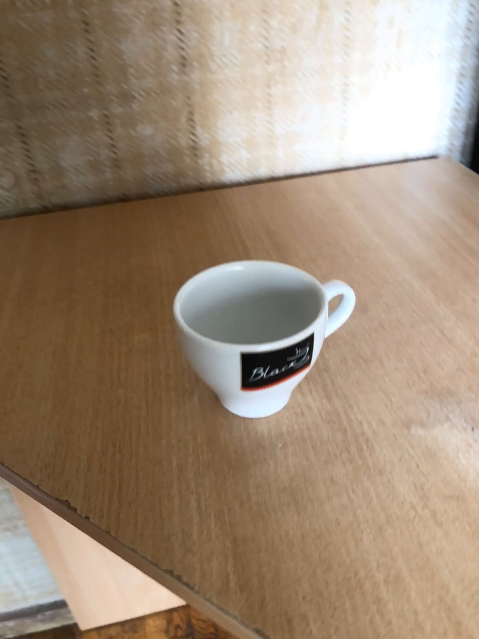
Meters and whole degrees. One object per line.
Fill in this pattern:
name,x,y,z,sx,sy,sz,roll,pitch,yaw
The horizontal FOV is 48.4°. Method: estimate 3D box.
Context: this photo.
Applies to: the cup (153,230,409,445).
cup,0.019,0.003,0.284,0.104,0.050,0.080,-18,37,-18
